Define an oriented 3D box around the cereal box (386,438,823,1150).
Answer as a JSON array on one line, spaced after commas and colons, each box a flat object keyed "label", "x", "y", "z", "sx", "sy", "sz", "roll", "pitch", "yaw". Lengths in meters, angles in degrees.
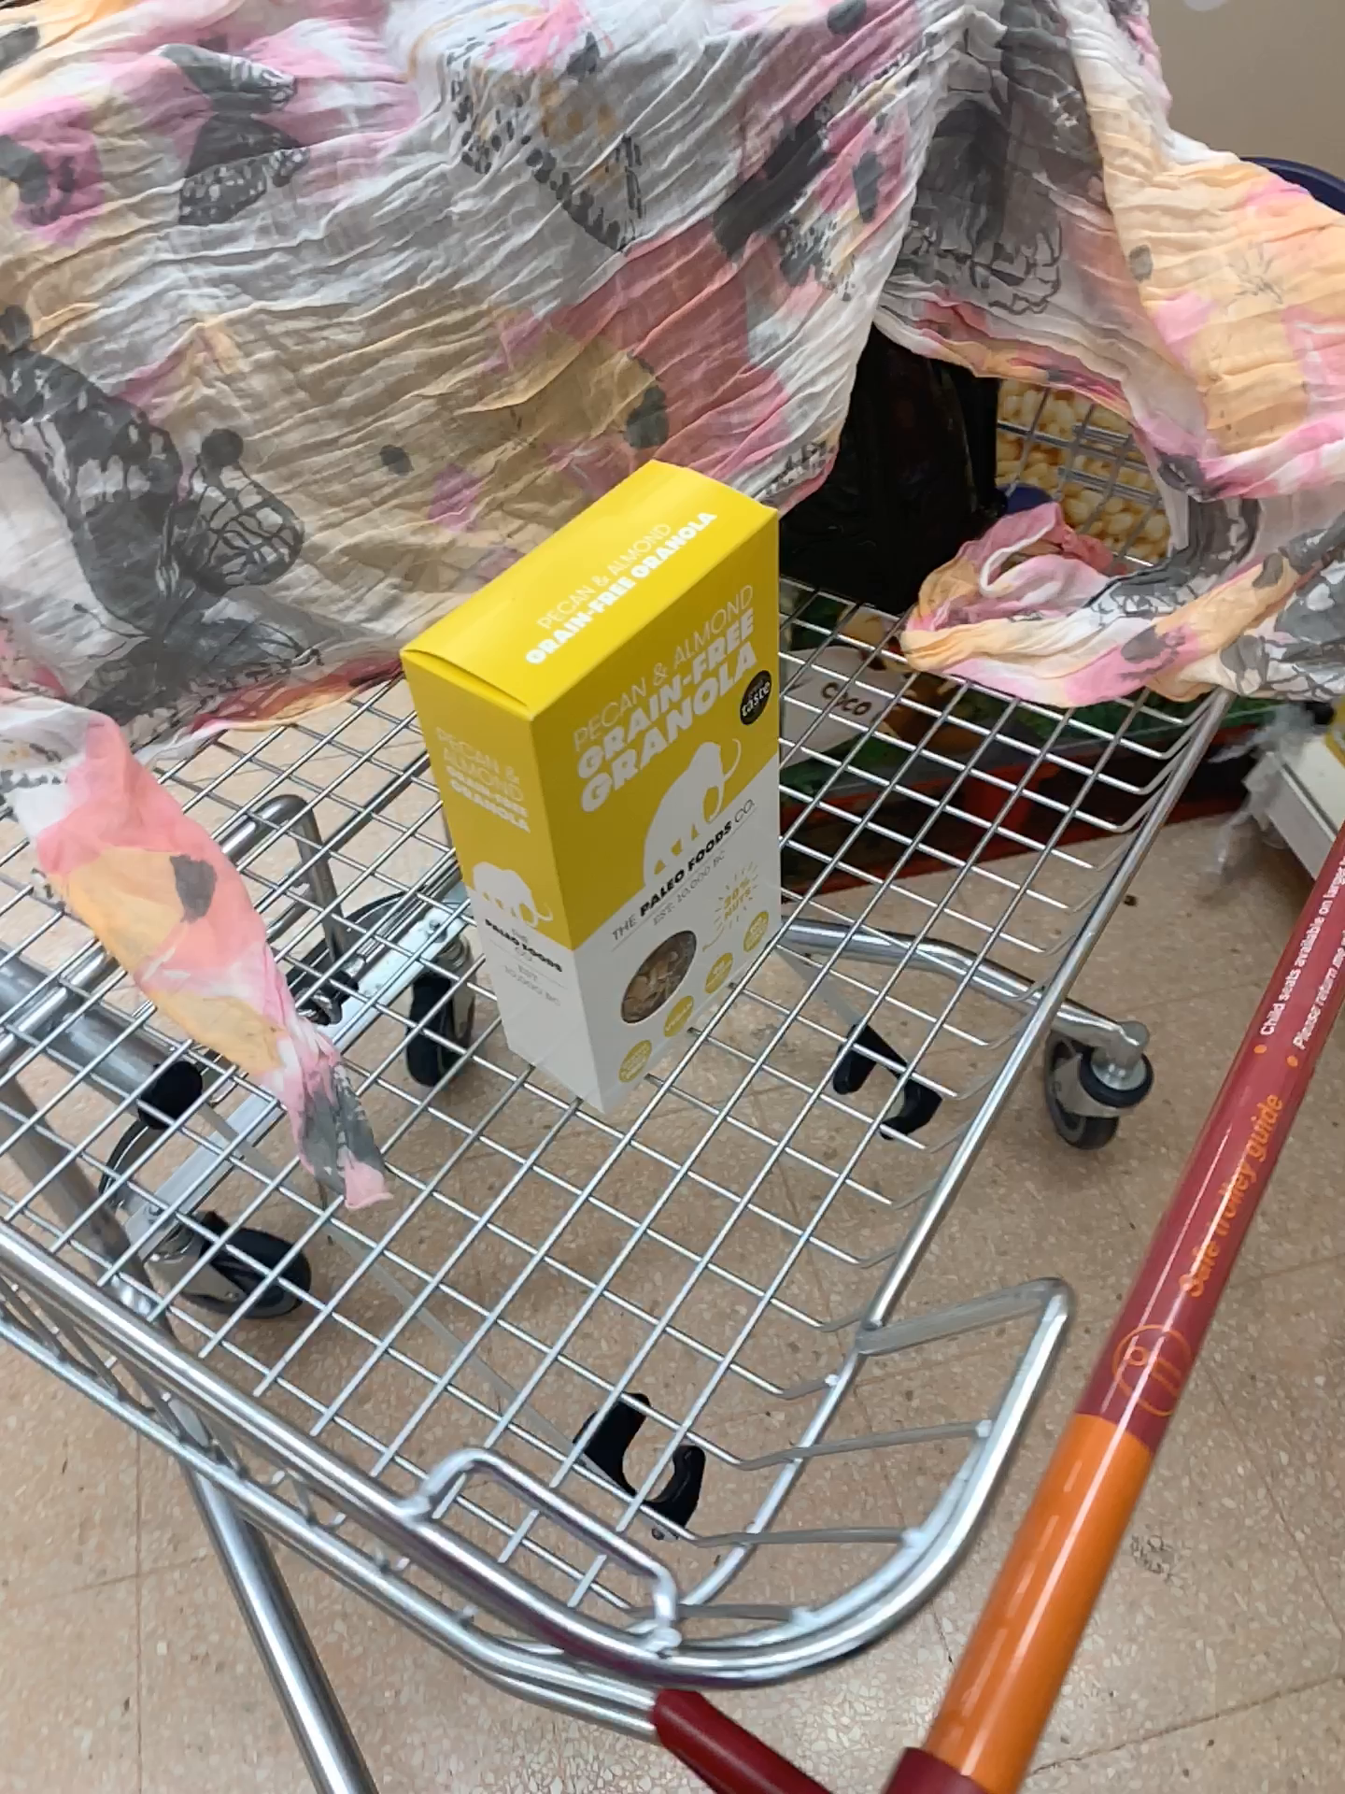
[{"label": "cereal box", "x": -0.011, "y": -0.029, "z": 0.483, "sx": 0.060, "sy": 0.208, "sz": 0.131, "roll": 28, "pitch": 55, "yaw": 27}]
